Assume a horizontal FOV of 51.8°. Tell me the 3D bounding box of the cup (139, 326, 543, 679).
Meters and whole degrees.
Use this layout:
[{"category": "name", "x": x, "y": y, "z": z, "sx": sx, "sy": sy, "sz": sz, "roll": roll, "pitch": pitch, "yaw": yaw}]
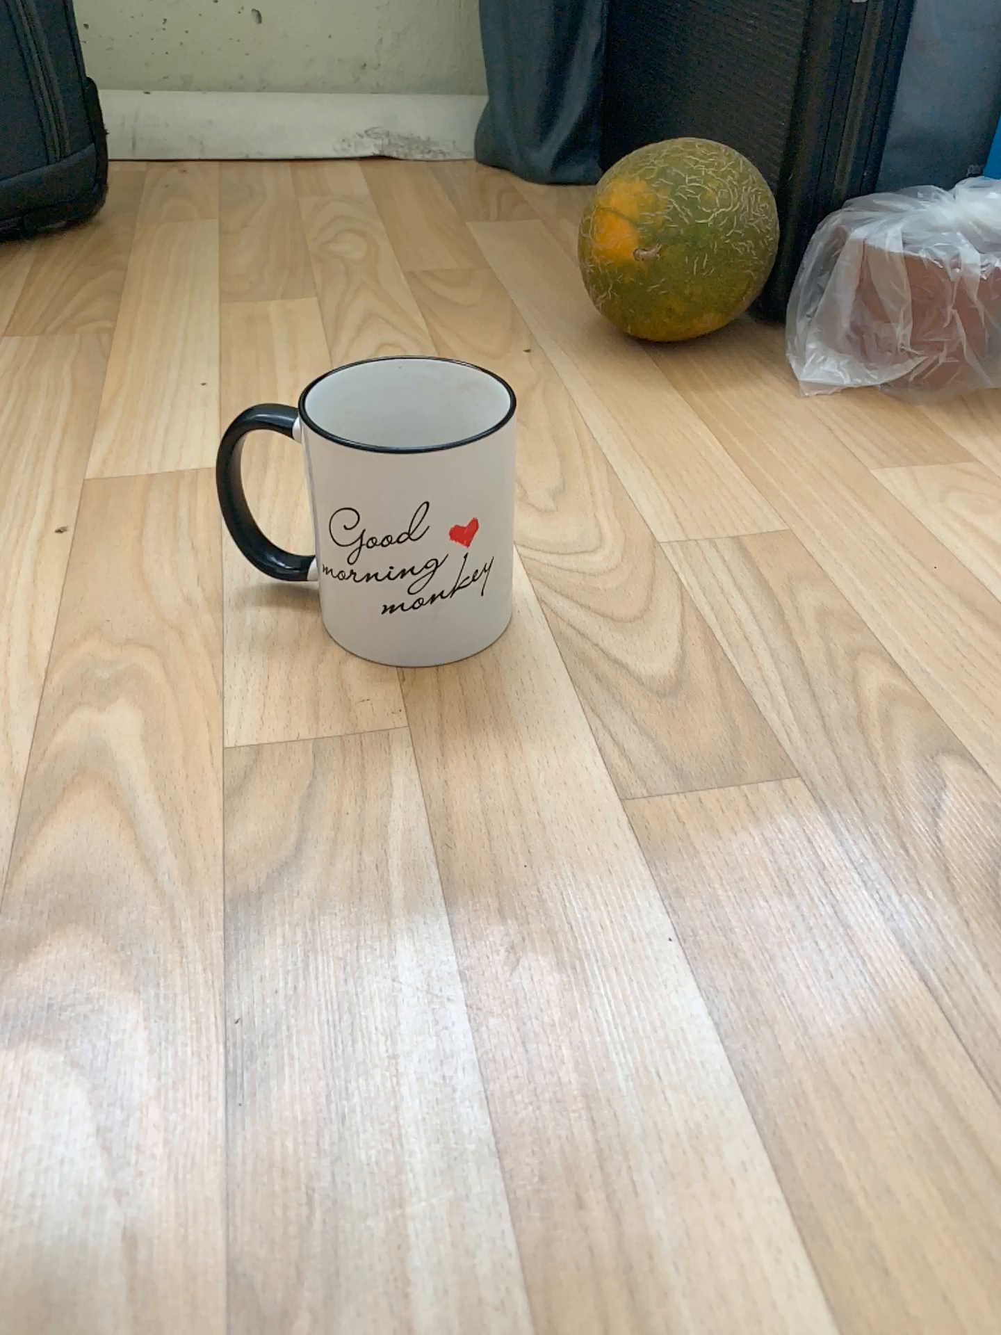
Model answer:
[{"category": "cup", "x": -0.053, "y": -0.064, "z": 0.397, "sx": 0.130, "sy": 0.100, "sz": 0.080, "roll": 4, "pitch": 39, "yaw": 1}]
